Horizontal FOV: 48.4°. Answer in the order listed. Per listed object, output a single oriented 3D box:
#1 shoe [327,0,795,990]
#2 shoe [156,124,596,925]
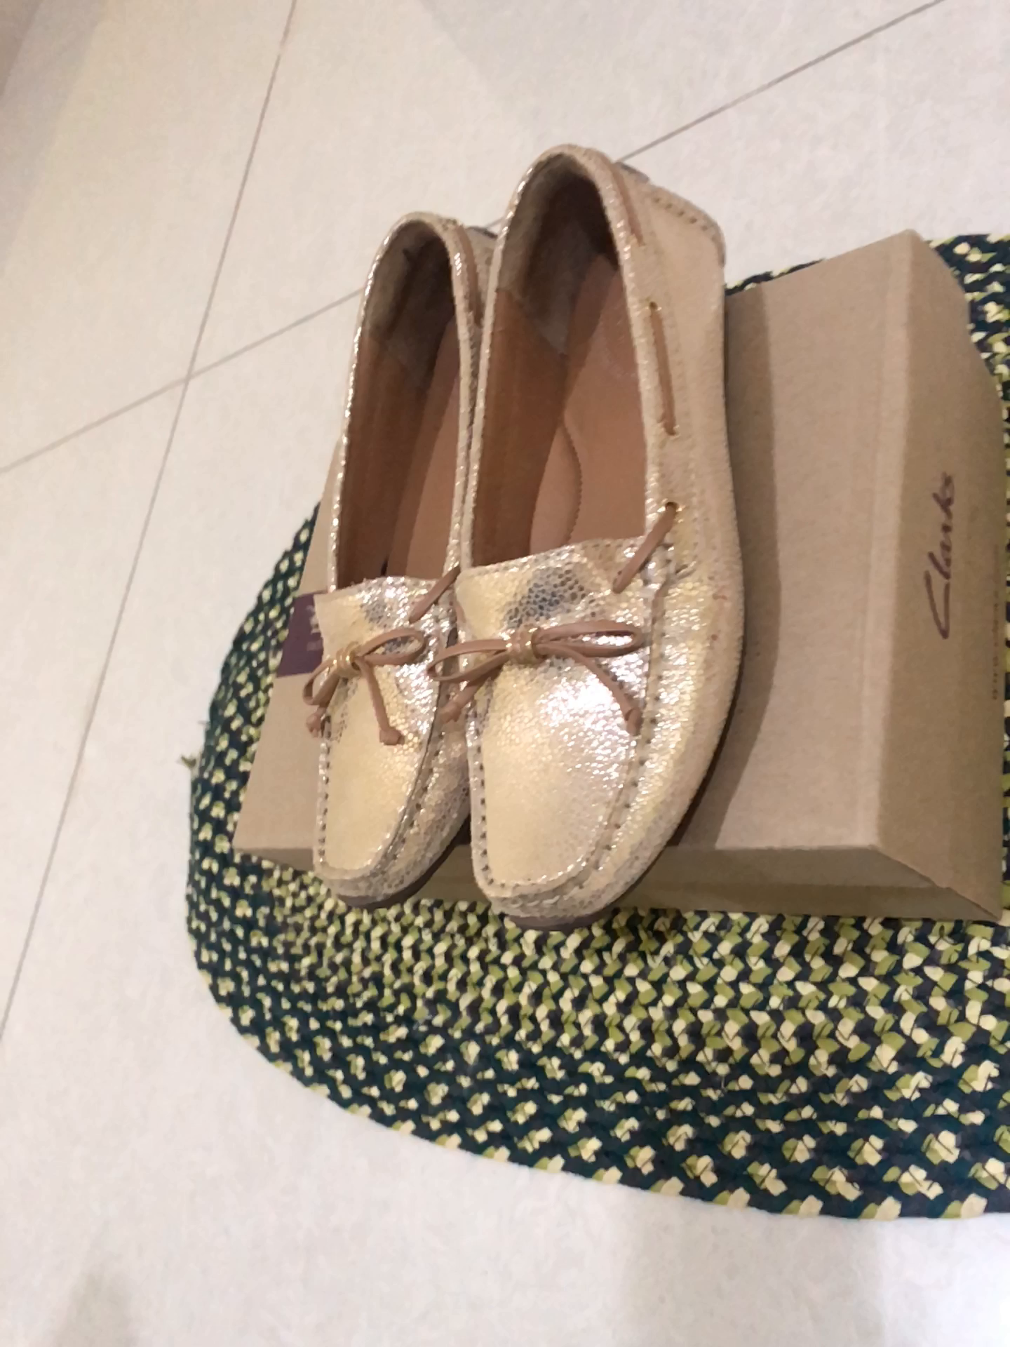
[{"bbox_3d":[0.028,-0.065,0.360,0.091,0.060,0.310,-8,62,38],"label":"shoe"},{"bbox_3d":[-0.039,-0.056,0.409,0.091,0.060,0.280,-8,62,38],"label":"shoe"}]
